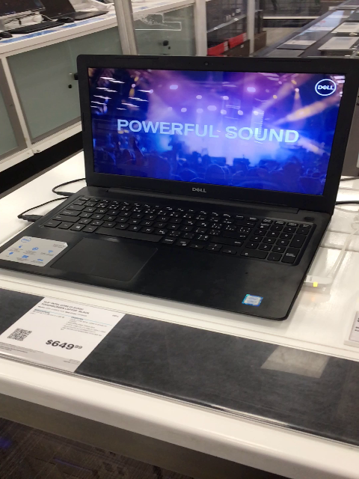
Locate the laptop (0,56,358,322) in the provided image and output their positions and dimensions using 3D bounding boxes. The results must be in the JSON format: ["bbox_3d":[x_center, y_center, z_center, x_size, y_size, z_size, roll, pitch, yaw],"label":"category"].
[{"bbox_3d":[-0.004,-0.095,0.631,0.417,0.222,0.298,10,38,18],"label":"laptop"}]
